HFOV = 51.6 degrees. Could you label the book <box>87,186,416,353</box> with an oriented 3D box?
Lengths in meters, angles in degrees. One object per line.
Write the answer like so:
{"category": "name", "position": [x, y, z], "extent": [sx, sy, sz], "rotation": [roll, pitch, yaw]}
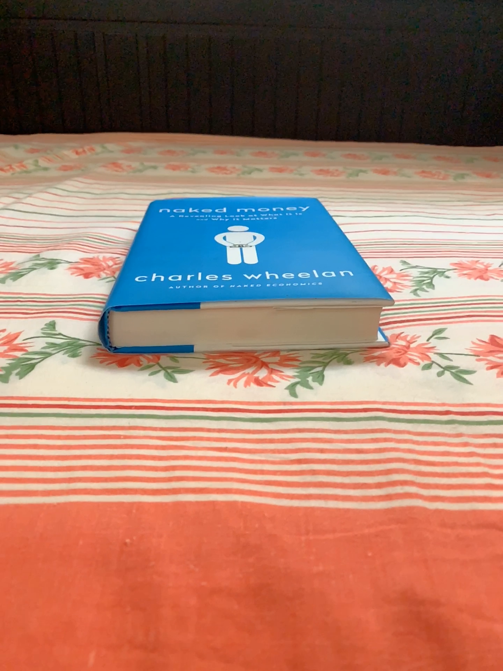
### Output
{"category": "book", "position": [-0.007, -0.066, 0.389], "extent": [0.170, 0.040, 0.252], "rotation": [-1, 27, -4]}
